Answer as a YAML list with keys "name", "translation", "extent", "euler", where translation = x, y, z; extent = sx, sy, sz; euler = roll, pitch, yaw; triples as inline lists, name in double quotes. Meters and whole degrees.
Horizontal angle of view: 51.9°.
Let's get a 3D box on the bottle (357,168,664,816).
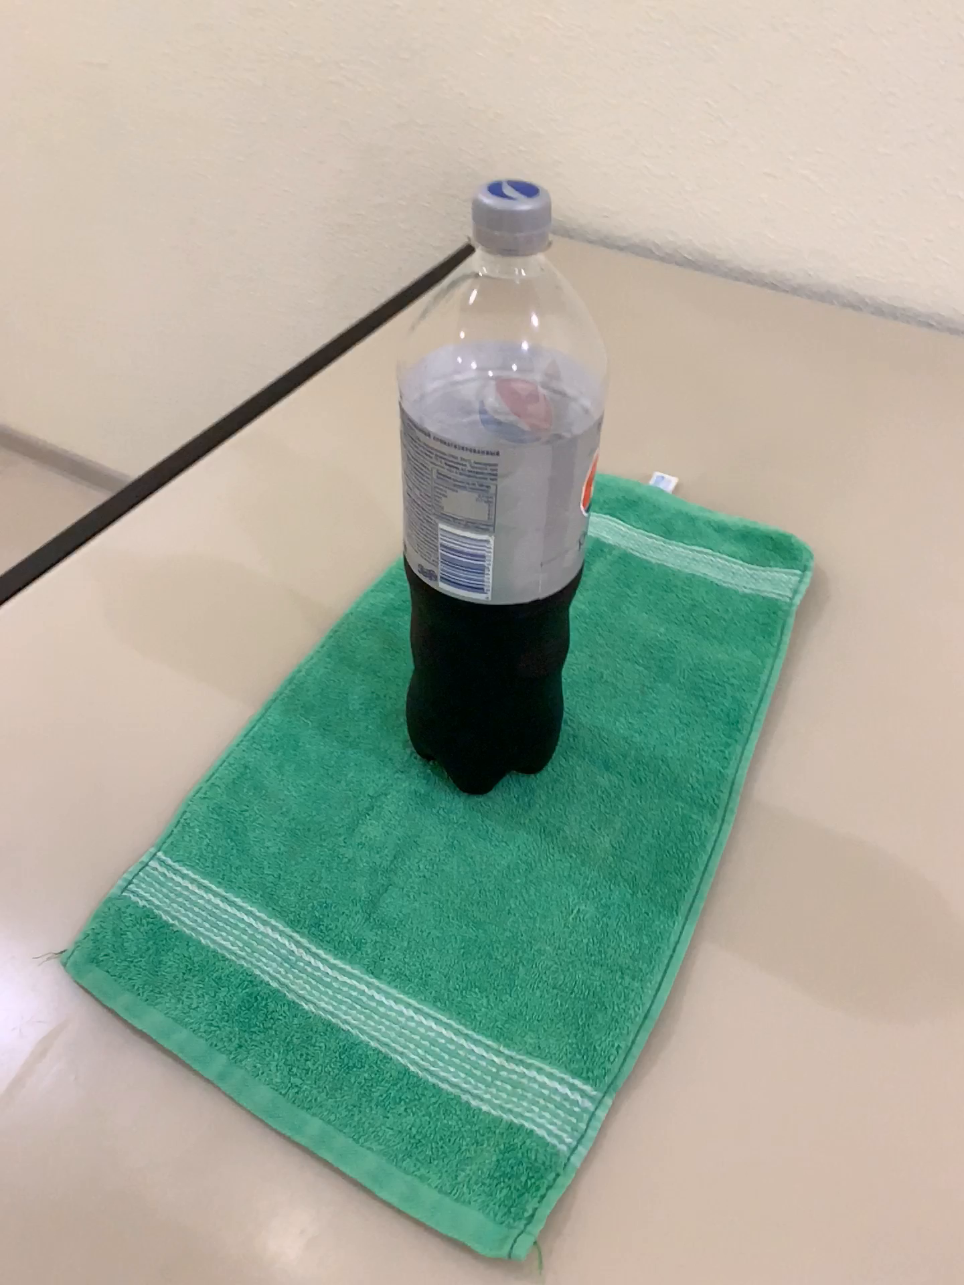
- name: "bottle"
  translation: [0.003, -0.051, 0.474]
  extent: [0.100, 0.298, 0.101]
  euler: [1, 45, -1]
